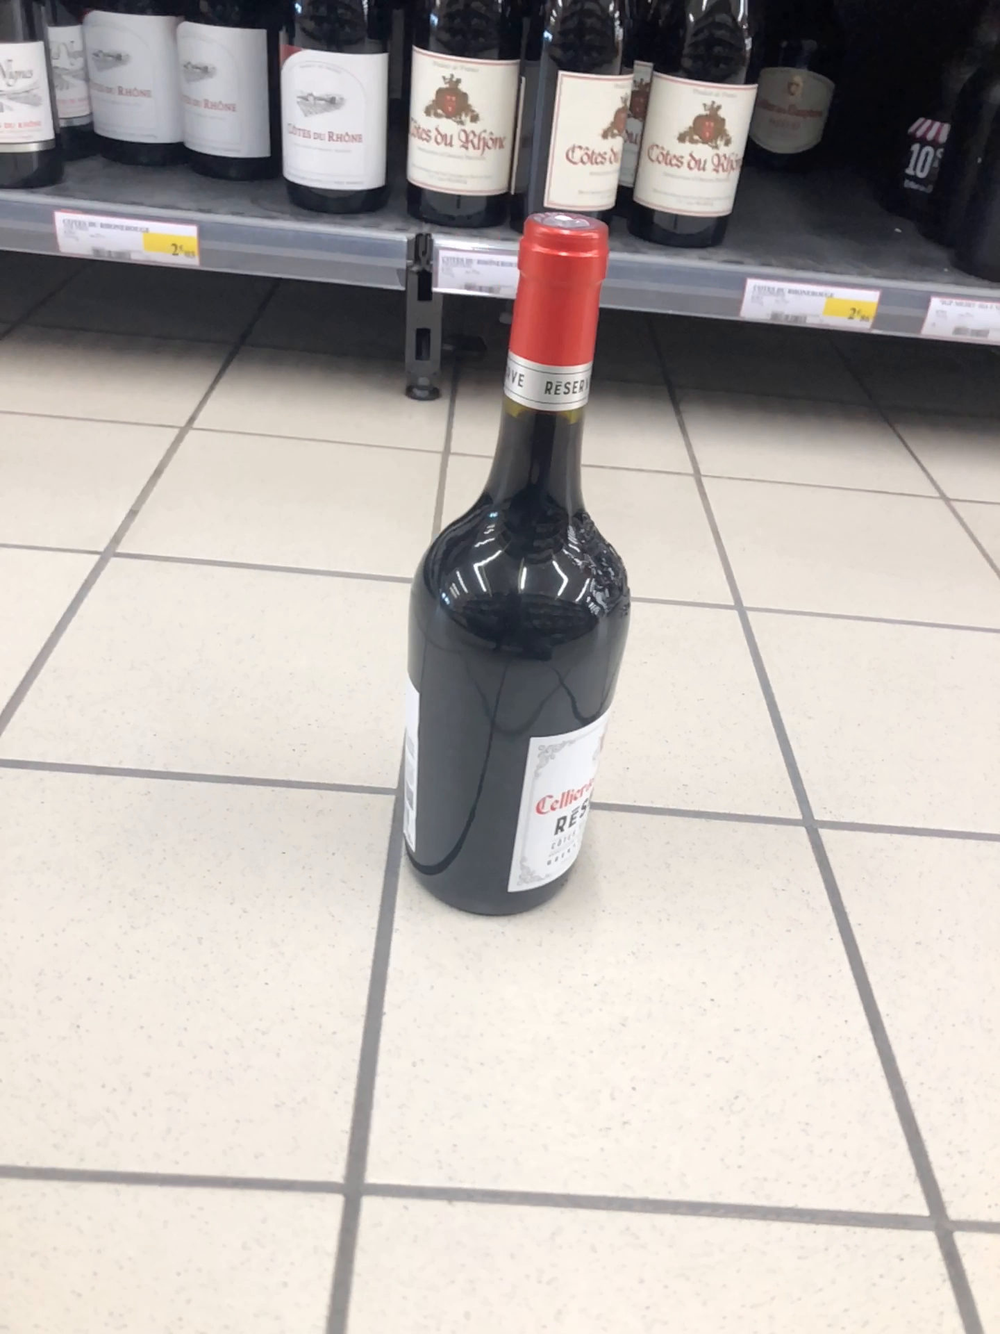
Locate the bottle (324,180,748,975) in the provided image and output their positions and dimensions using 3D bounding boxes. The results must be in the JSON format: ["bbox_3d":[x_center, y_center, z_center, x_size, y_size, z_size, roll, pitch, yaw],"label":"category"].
[{"bbox_3d":[0.005,-0.029,0.427,0.100,0.268,0.111,18,35,17],"label":"bottle"}]
